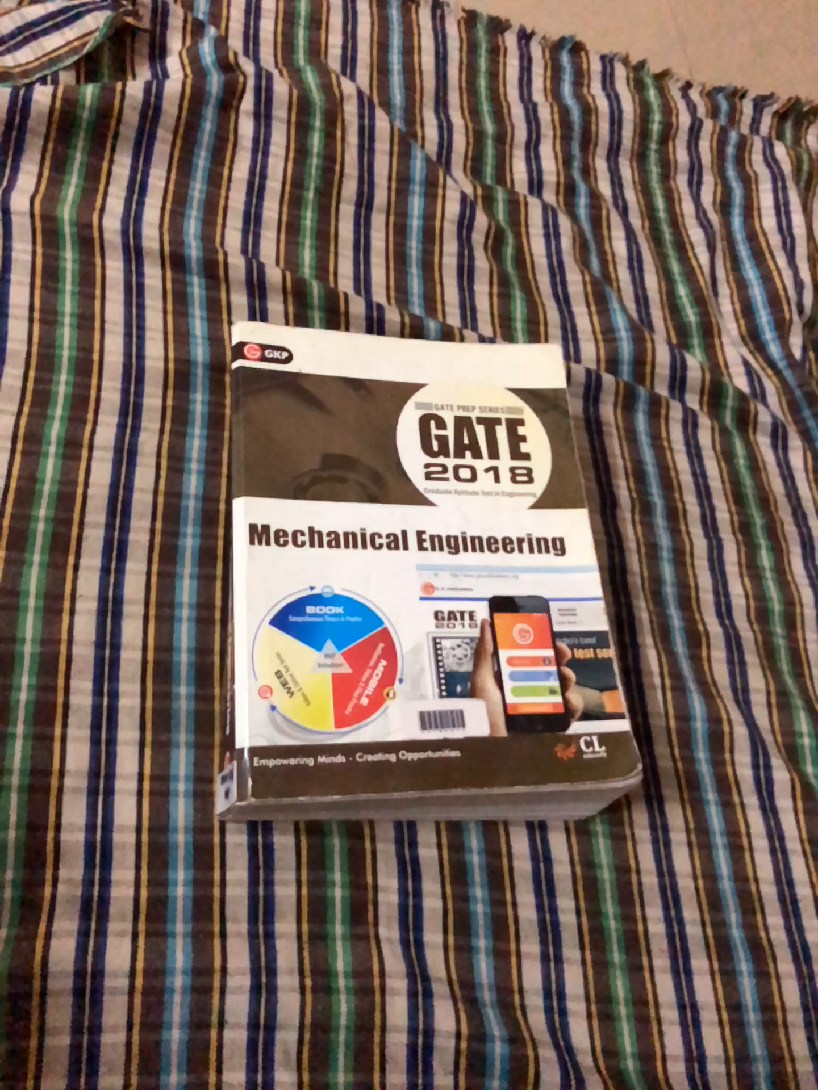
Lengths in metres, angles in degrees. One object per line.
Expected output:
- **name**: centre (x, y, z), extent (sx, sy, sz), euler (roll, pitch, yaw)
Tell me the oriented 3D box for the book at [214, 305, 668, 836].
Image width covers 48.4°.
- **book**: centre (0.004, 0.011, 0.499), extent (0.210, 0.076, 0.264), euler (3, 65, -17)
